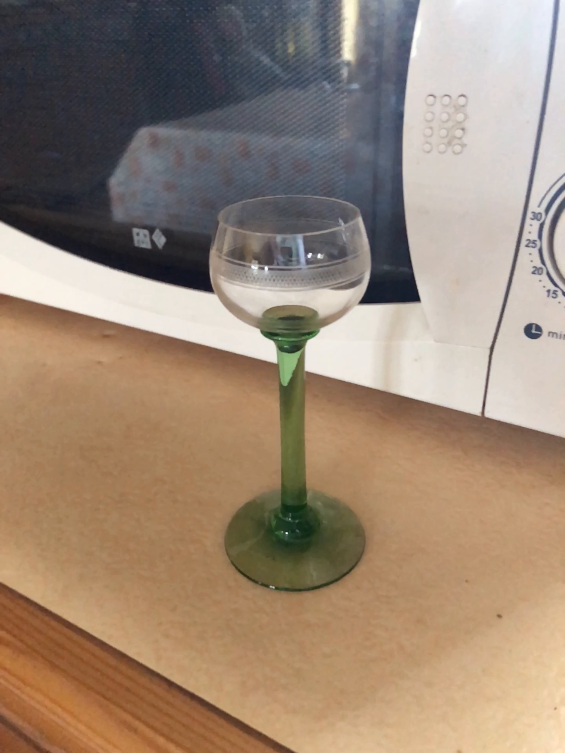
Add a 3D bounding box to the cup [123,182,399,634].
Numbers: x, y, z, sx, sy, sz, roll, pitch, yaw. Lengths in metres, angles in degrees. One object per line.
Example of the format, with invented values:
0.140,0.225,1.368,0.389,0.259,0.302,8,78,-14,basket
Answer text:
-0.001,0.010,0.208,0.060,0.129,0.060,-1,30,1,cup
